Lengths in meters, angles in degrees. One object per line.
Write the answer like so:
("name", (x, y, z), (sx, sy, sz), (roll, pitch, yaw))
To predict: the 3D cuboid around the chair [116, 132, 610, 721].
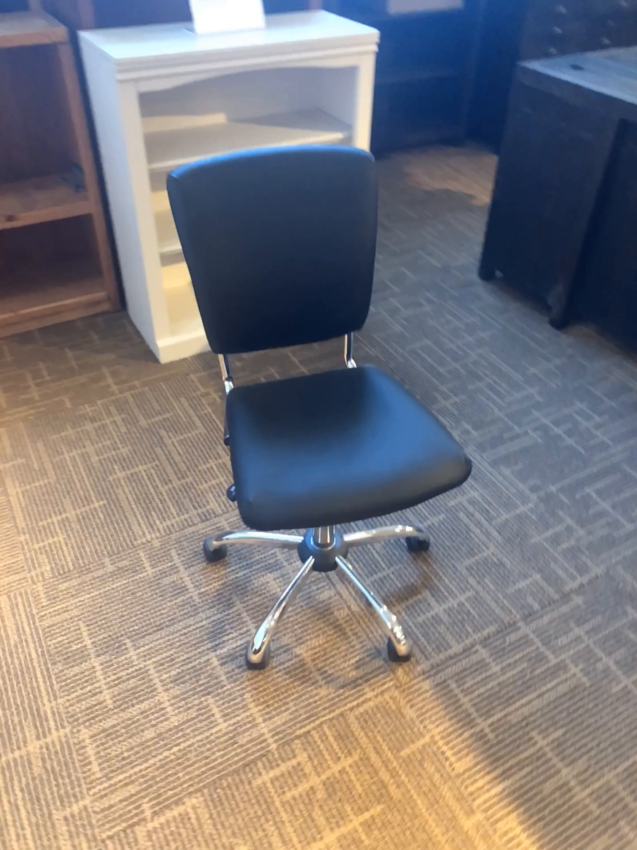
("chair", (0.007, -0.010, 1.324), (0.574, 0.826, 0.610), (-11, 41, -14))
